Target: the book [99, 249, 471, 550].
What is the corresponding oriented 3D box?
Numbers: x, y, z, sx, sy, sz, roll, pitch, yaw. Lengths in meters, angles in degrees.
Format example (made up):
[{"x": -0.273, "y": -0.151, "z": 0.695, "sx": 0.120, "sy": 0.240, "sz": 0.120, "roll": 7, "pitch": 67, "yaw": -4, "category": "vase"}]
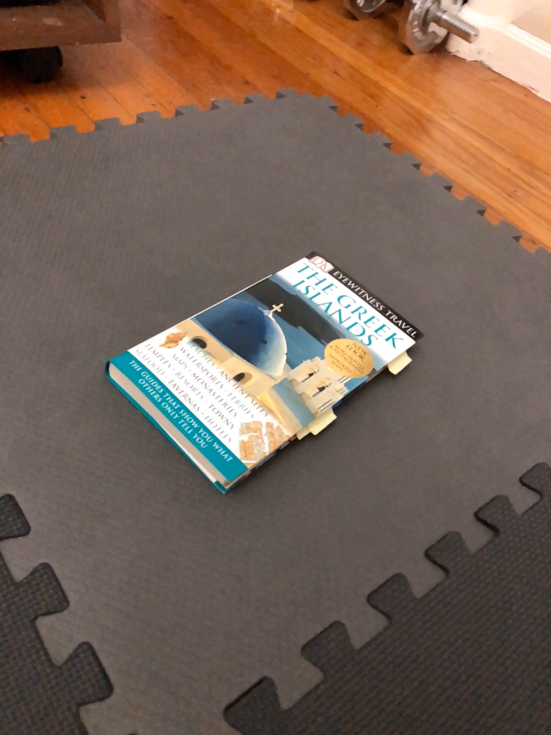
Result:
[{"x": 0.015, "y": 0.002, "z": 0.466, "sx": 0.241, "sy": 0.030, "sz": 0.160, "roll": -32, "pitch": 61, "yaw": -34, "category": "book"}]
